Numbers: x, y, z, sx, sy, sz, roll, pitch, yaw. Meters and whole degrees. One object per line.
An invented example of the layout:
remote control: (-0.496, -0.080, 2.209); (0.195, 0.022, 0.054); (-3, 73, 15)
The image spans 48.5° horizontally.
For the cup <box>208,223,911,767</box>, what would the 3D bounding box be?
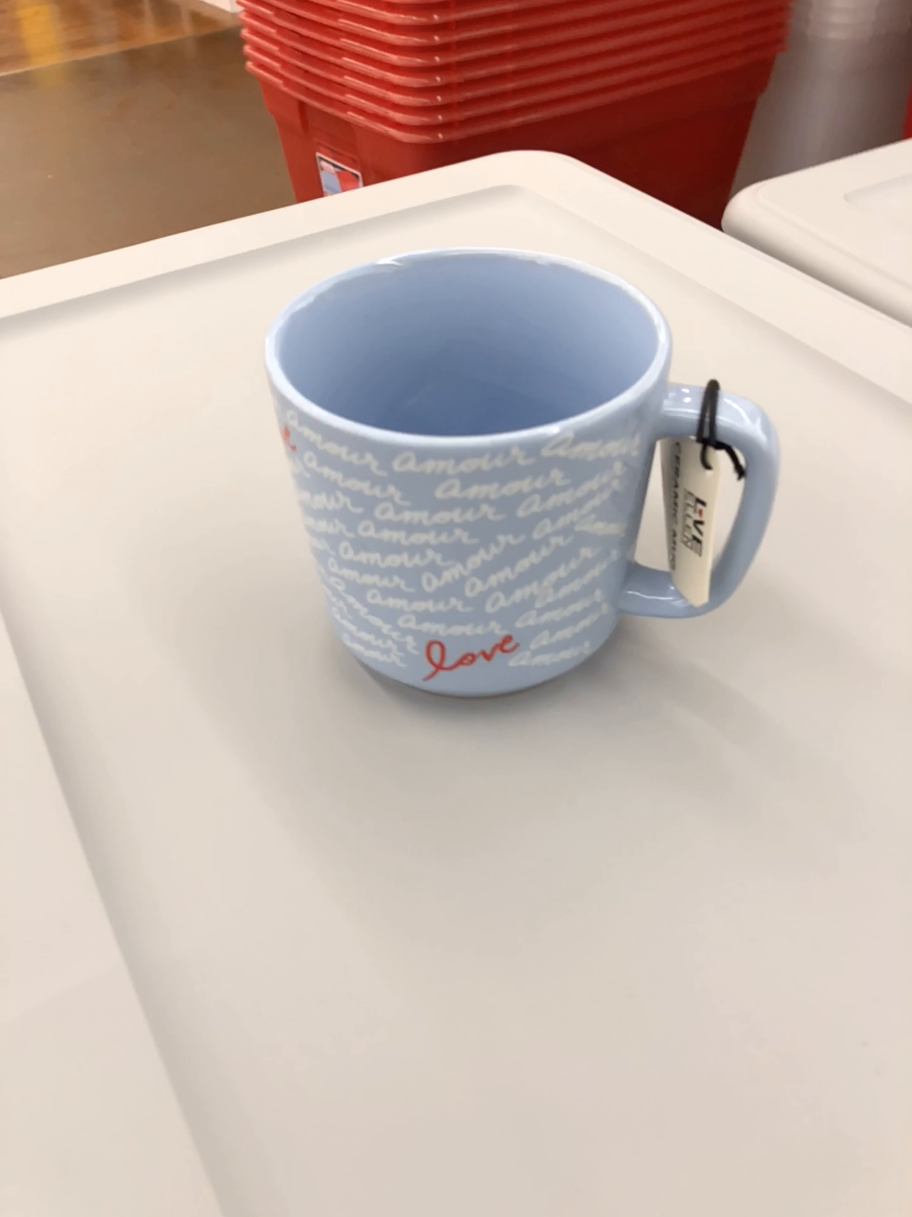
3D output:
cup: (0.030, -0.036, 0.261); (0.140, 0.080, 0.100); (9, 44, 13)
